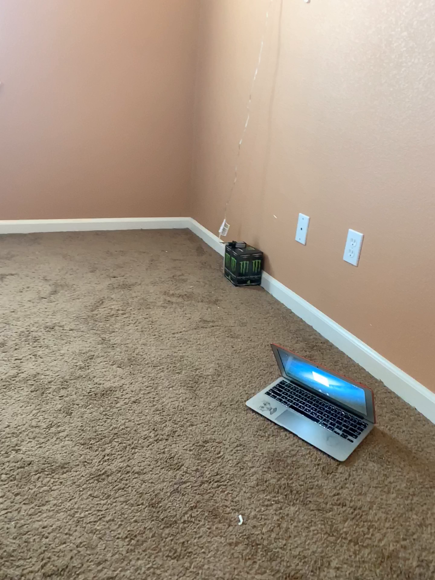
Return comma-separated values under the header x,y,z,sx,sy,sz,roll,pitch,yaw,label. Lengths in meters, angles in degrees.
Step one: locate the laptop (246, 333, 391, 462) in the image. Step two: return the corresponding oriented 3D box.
x,y,z,sx,sy,sz,roll,pitch,yaw,label
0.259,0.265,1.166,0.299,0.148,0.193,22,28,36,laptop
